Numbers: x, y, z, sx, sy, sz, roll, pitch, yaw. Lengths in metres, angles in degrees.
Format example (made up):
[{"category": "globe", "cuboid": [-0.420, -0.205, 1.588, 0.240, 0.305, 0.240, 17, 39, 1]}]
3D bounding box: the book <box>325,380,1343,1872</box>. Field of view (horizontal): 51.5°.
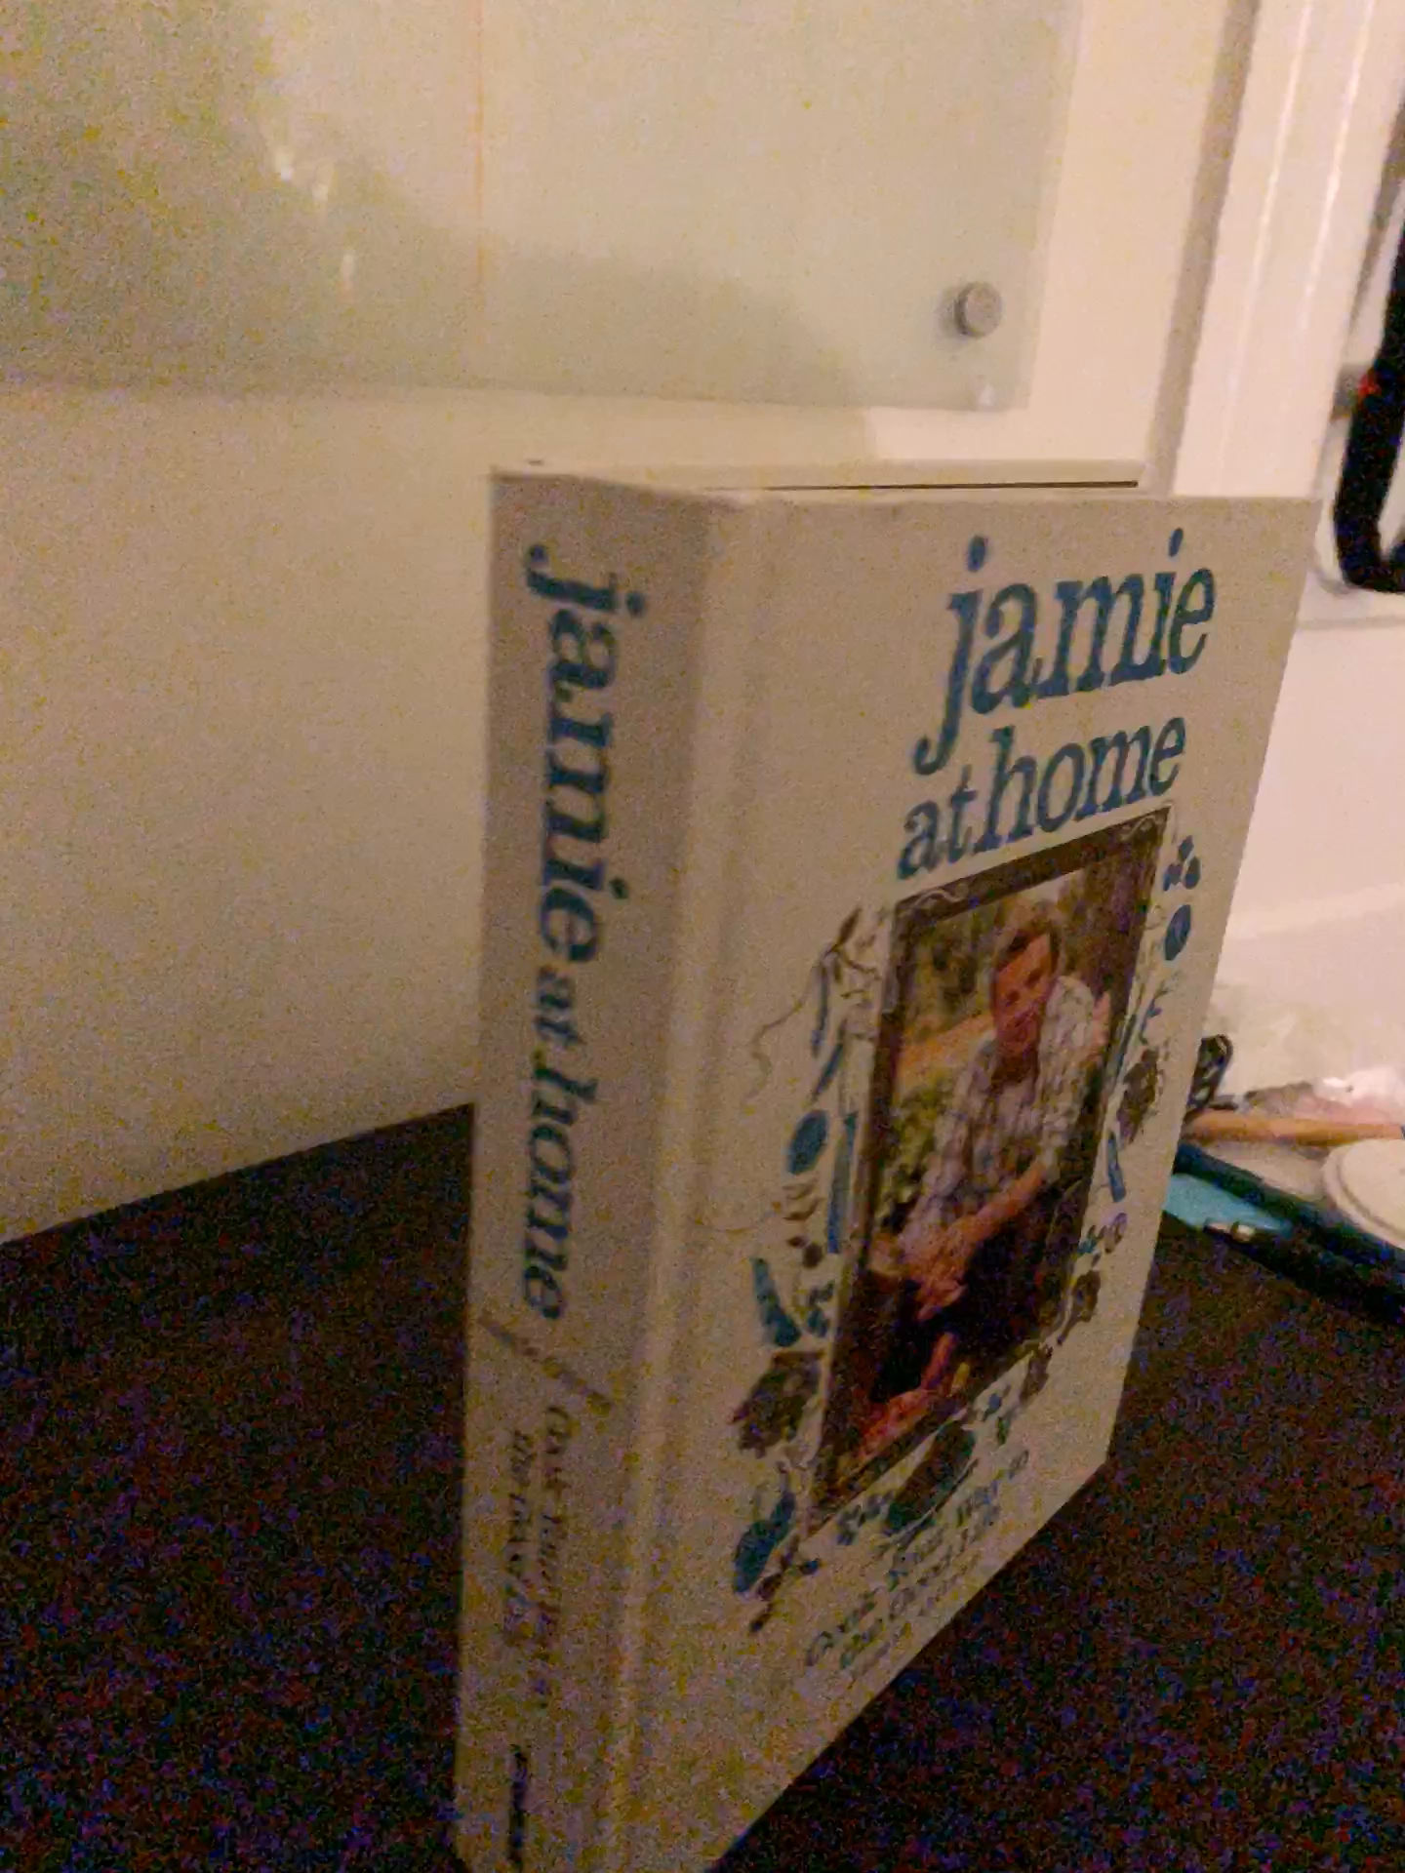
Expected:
[{"category": "book", "cuboid": [0.032, 0.039, 0.289, 0.050, 0.269, 0.210, 22, 27, 38]}]
